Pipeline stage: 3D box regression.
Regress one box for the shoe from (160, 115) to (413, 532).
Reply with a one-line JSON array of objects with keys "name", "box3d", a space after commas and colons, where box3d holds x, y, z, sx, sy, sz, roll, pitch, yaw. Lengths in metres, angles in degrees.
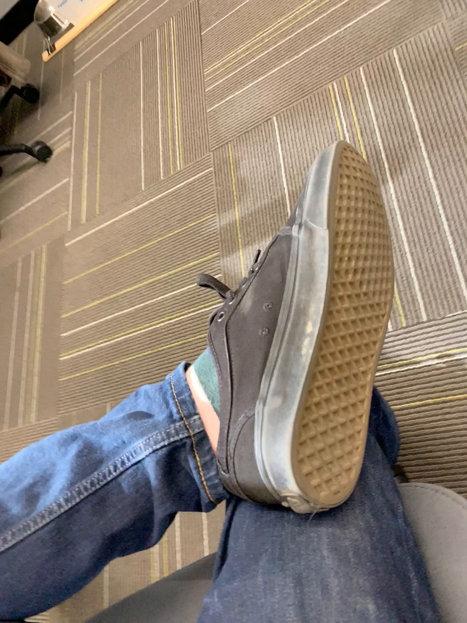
[{"name": "shoe", "box3d": [0.049, 0.015, 0.375, 0.135, 0.120, 0.260, -9, 69, 43]}]
